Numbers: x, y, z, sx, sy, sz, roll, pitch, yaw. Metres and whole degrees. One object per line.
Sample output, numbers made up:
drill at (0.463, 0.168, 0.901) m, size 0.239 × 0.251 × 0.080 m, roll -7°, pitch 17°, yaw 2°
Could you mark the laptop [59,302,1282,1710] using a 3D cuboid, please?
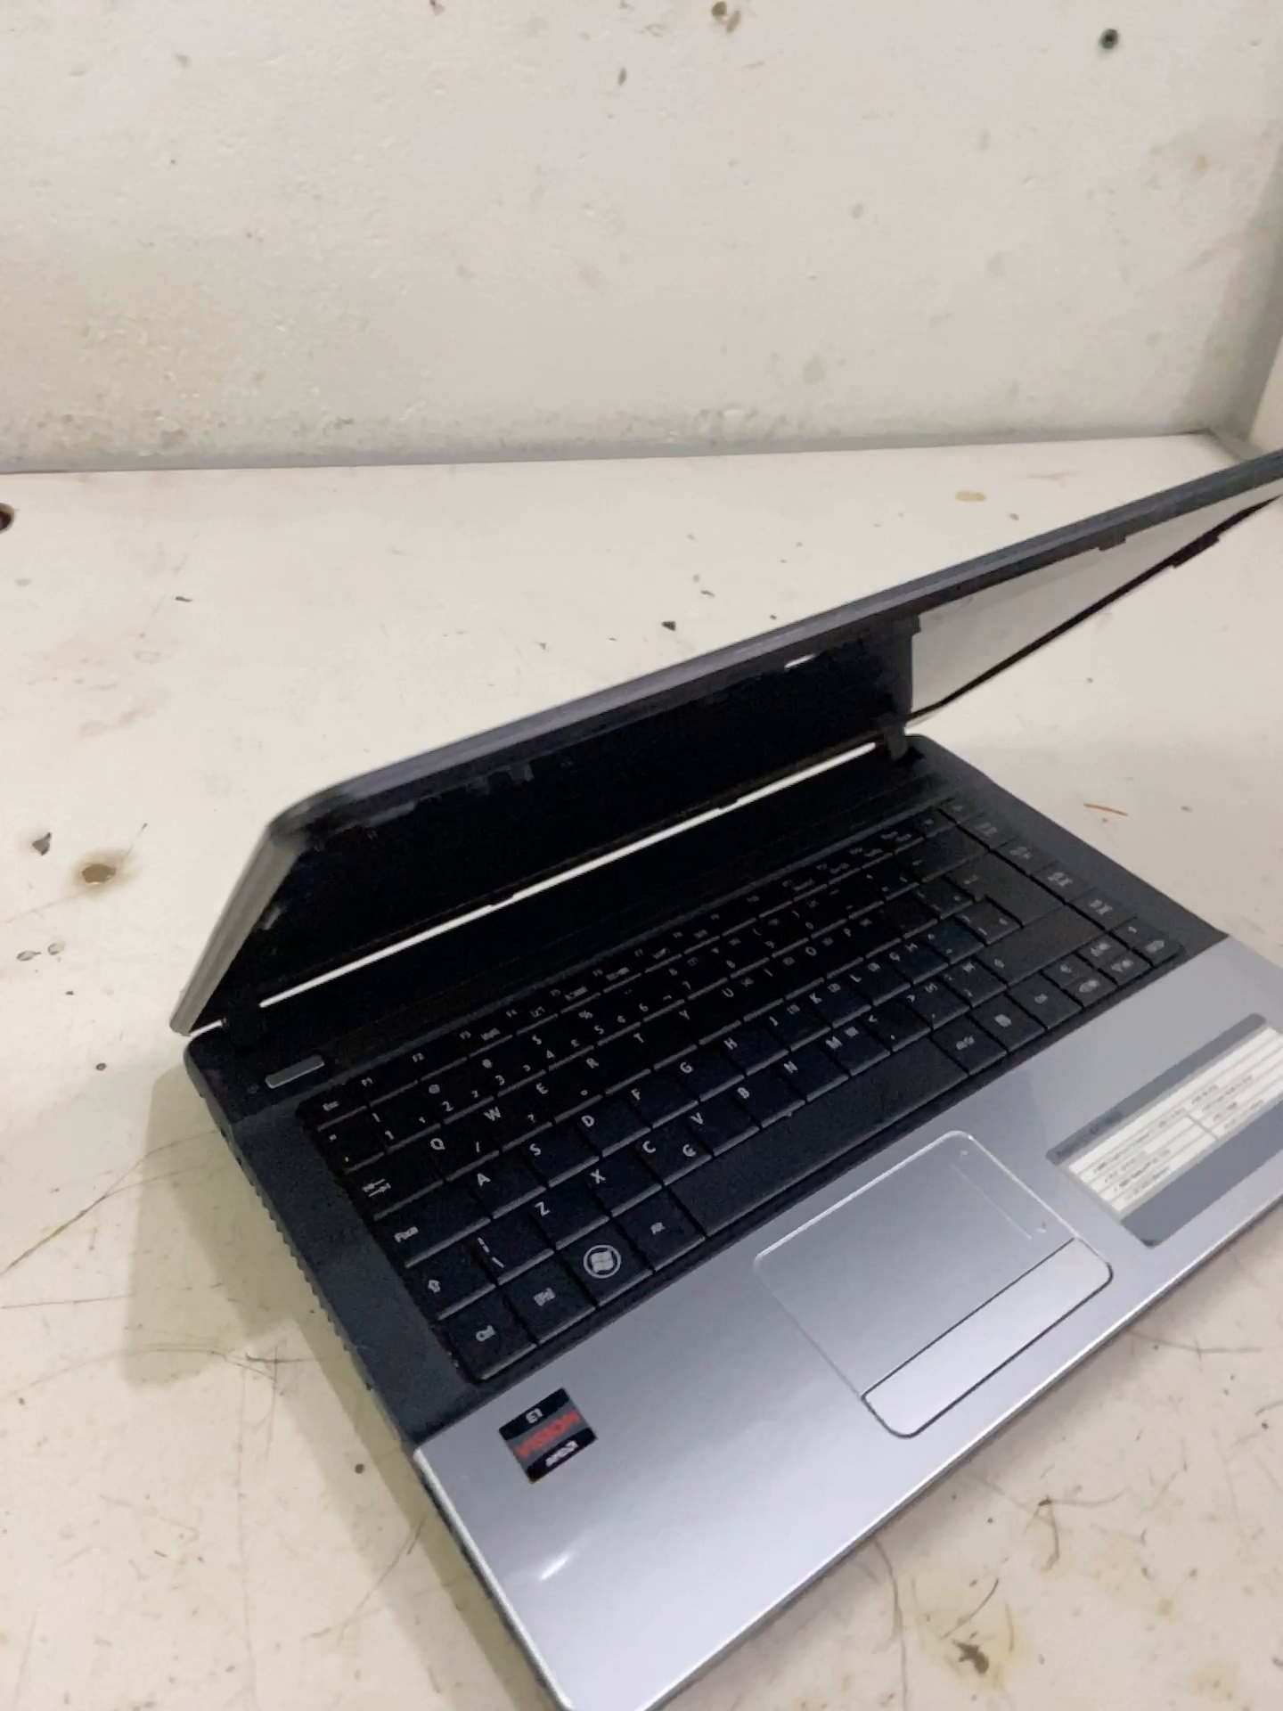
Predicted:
laptop at (0.062, -0.007, 0.377) m, size 0.335 × 0.184 × 0.238 m, roll -23°, pitch 45°, yaw -29°
